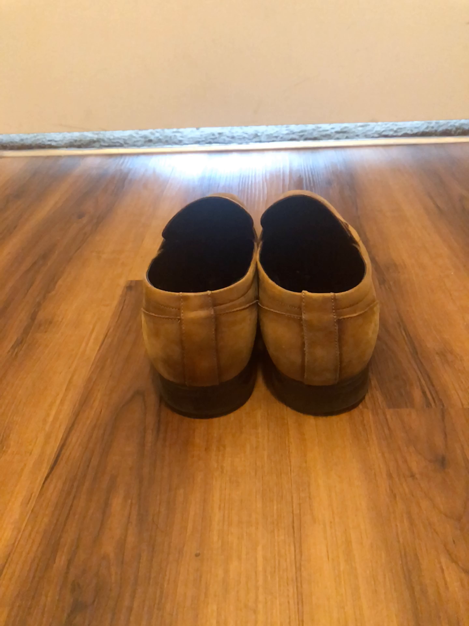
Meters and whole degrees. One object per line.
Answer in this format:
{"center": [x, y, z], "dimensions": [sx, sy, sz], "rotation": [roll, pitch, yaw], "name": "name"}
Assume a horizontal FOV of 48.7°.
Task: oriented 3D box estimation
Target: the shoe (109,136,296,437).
{"center": [-0.018, -0.051, 0.453], "dimensions": [0.106, 0.111, 0.309], "rotation": [-3, 34, 1], "name": "shoe"}

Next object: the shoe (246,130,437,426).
{"center": [0.072, -0.057, 0.451], "dimensions": [0.106, 0.111, 0.309], "rotation": [-1, 34, 5], "name": "shoe"}
